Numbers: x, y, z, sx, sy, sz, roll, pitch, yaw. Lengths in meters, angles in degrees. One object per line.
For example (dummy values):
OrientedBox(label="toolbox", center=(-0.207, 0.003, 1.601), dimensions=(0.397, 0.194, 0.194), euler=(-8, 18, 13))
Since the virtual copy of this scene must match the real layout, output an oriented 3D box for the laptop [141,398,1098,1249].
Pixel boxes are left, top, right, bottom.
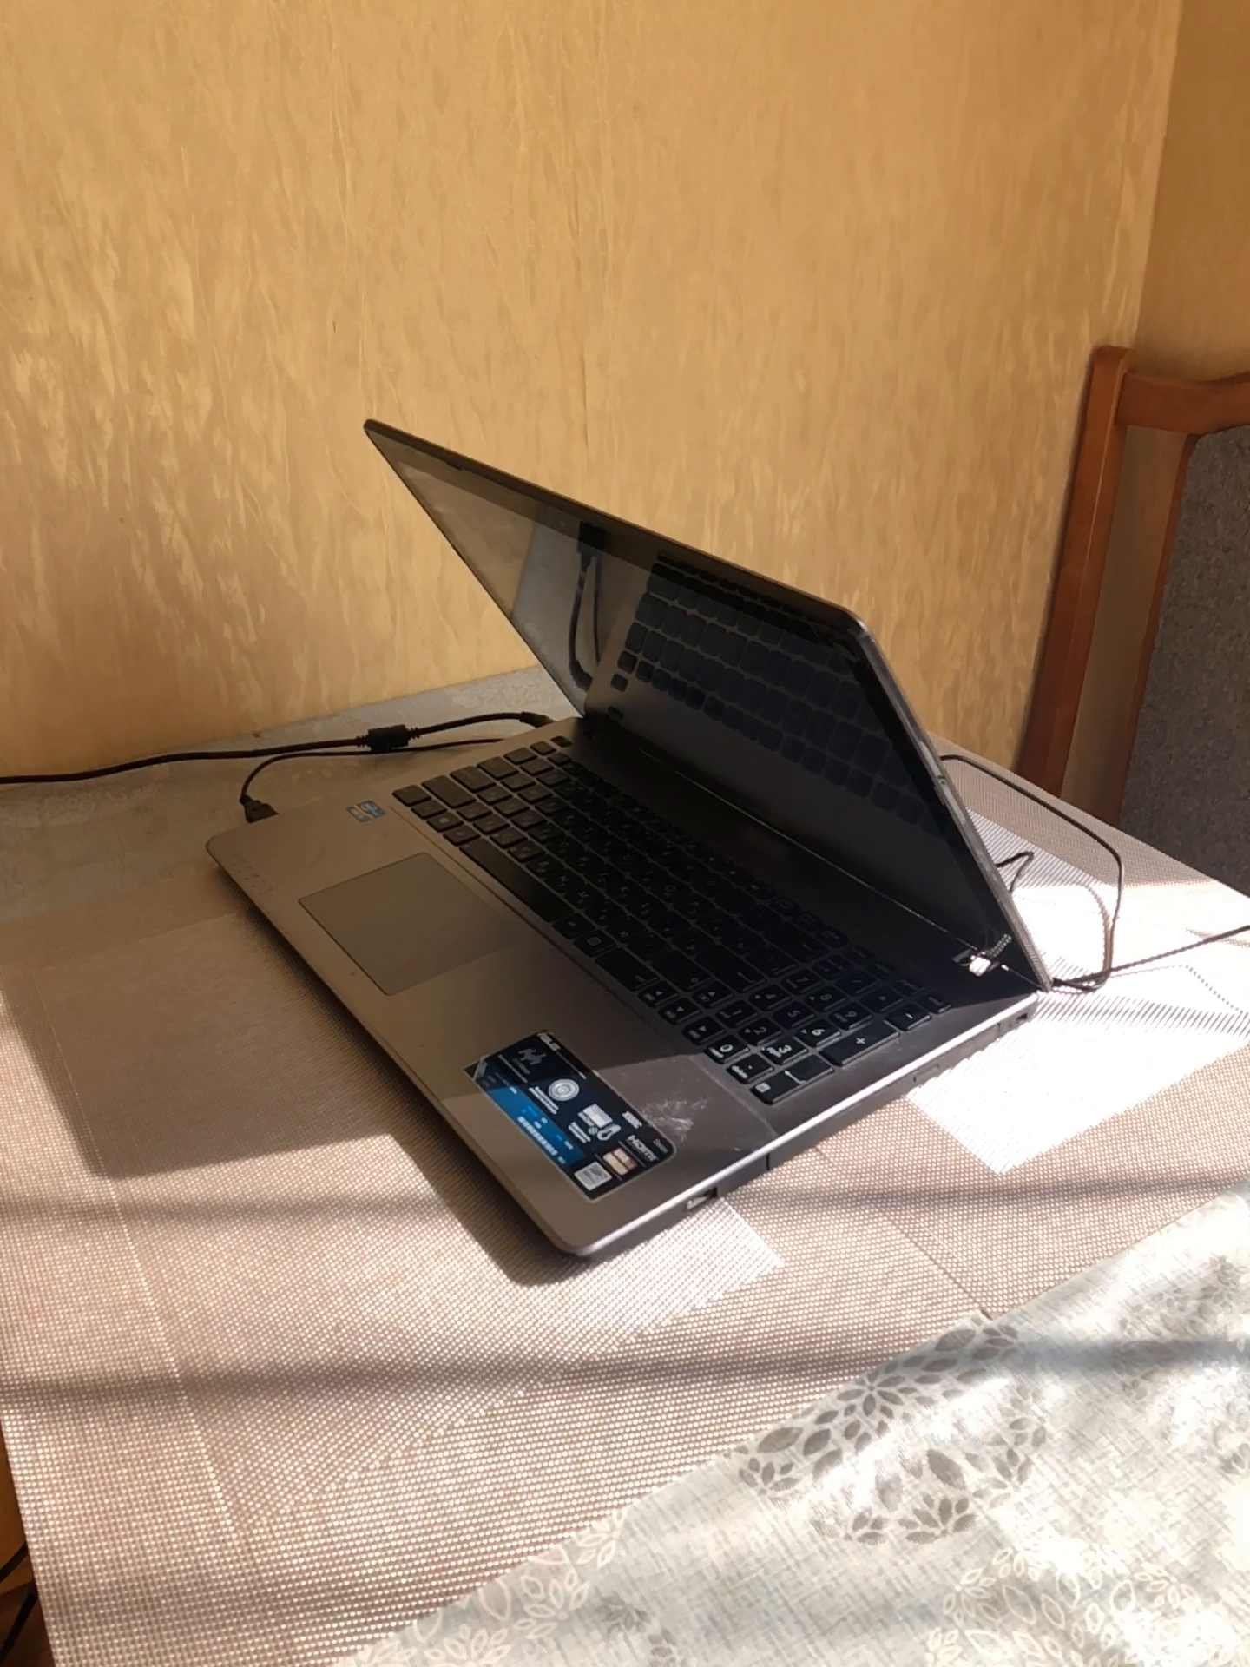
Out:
OrientedBox(label="laptop", center=(-0.026, -0.048, 0.631), dimensions=(0.240, 0.197, 0.365), euler=(-21, 35, -28))
